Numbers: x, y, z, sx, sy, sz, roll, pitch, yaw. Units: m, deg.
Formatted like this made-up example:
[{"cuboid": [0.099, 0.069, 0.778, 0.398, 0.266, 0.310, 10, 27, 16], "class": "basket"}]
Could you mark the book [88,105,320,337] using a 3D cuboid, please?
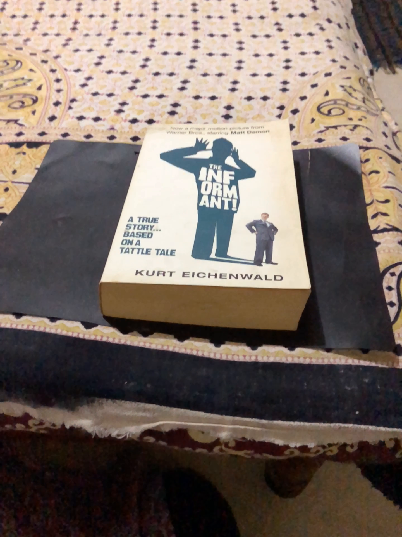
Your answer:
[{"cuboid": [0.010, -0.057, 0.367, 0.140, 0.050, 0.231, 2, 46, 4], "class": "book"}]
